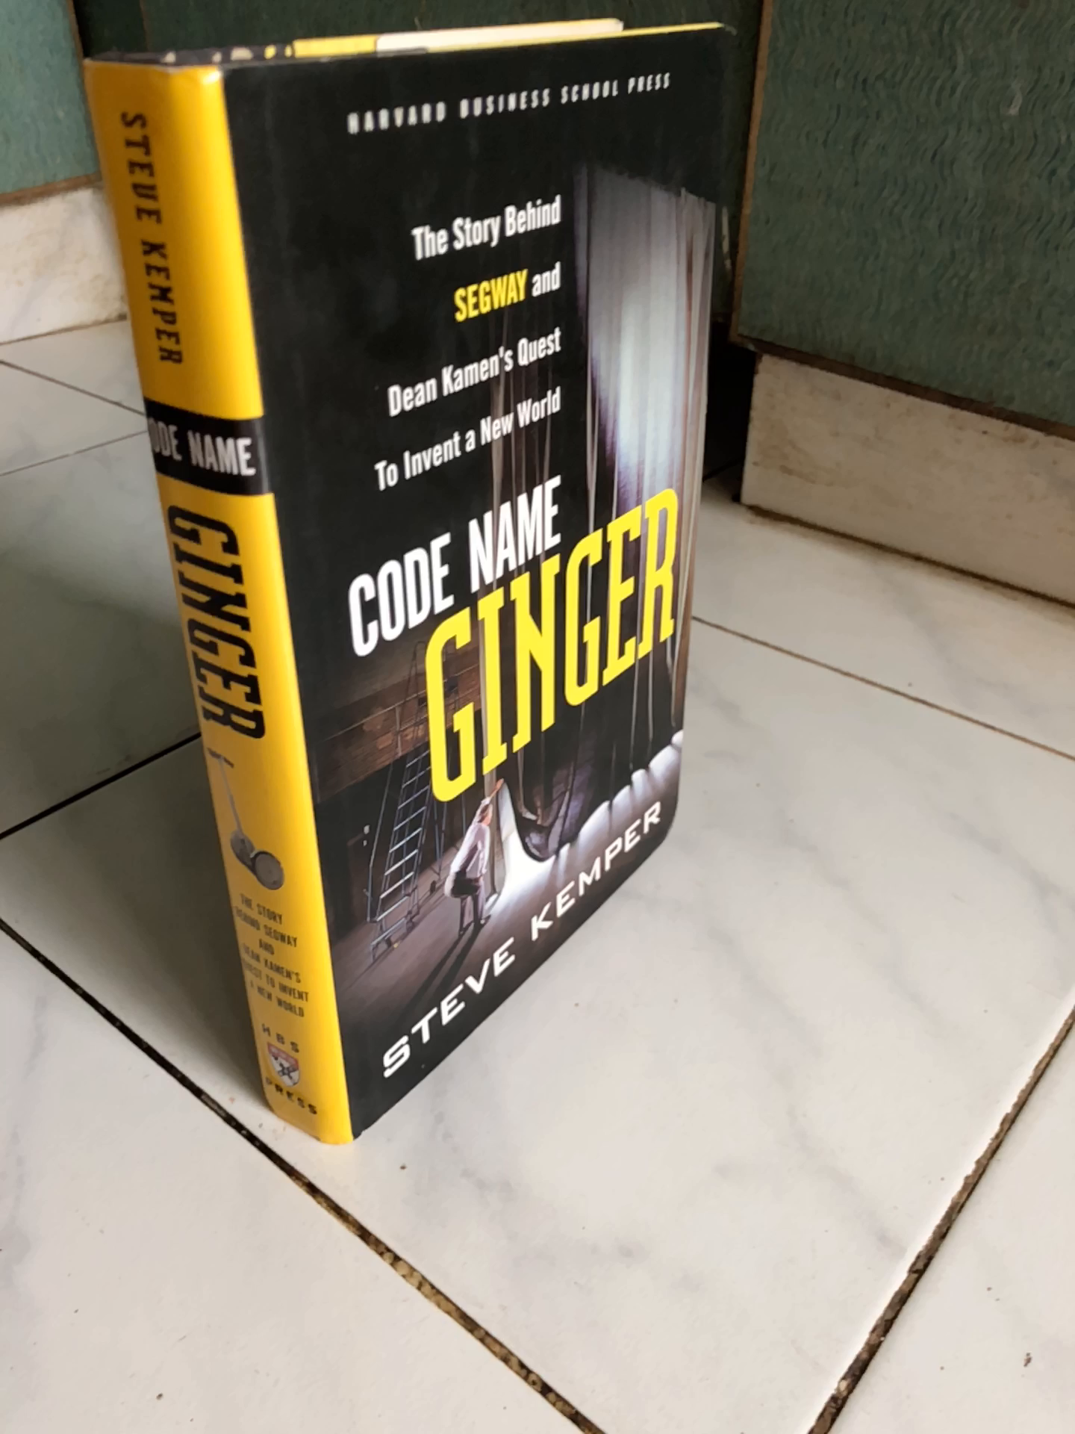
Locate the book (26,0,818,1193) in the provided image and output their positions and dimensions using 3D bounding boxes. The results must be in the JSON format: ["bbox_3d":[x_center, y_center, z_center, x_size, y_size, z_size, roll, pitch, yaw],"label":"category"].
[{"bbox_3d":[-0.004,-0.036,0.297,0.040,0.239,0.191,21,38,30],"label":"book"}]
